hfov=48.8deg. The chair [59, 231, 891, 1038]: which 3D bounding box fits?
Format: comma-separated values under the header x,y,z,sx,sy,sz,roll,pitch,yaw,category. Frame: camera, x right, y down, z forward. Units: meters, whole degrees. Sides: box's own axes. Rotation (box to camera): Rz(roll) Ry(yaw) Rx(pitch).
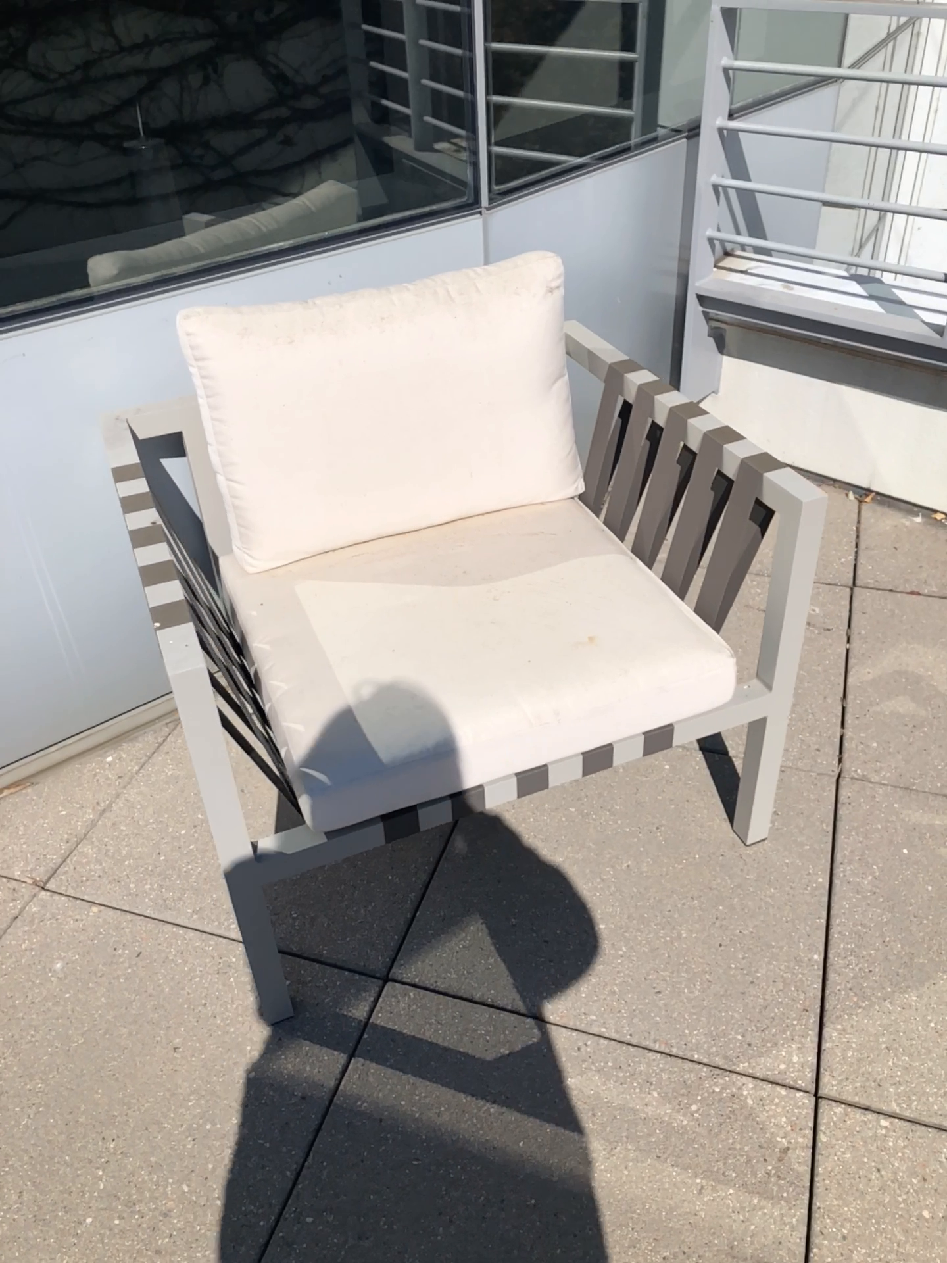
x,y,z,sx,sy,sz,roll,pitch,yaw,category
-0.050,-0.076,1.603,0.870,0.736,0.784,-16,38,-17,chair
